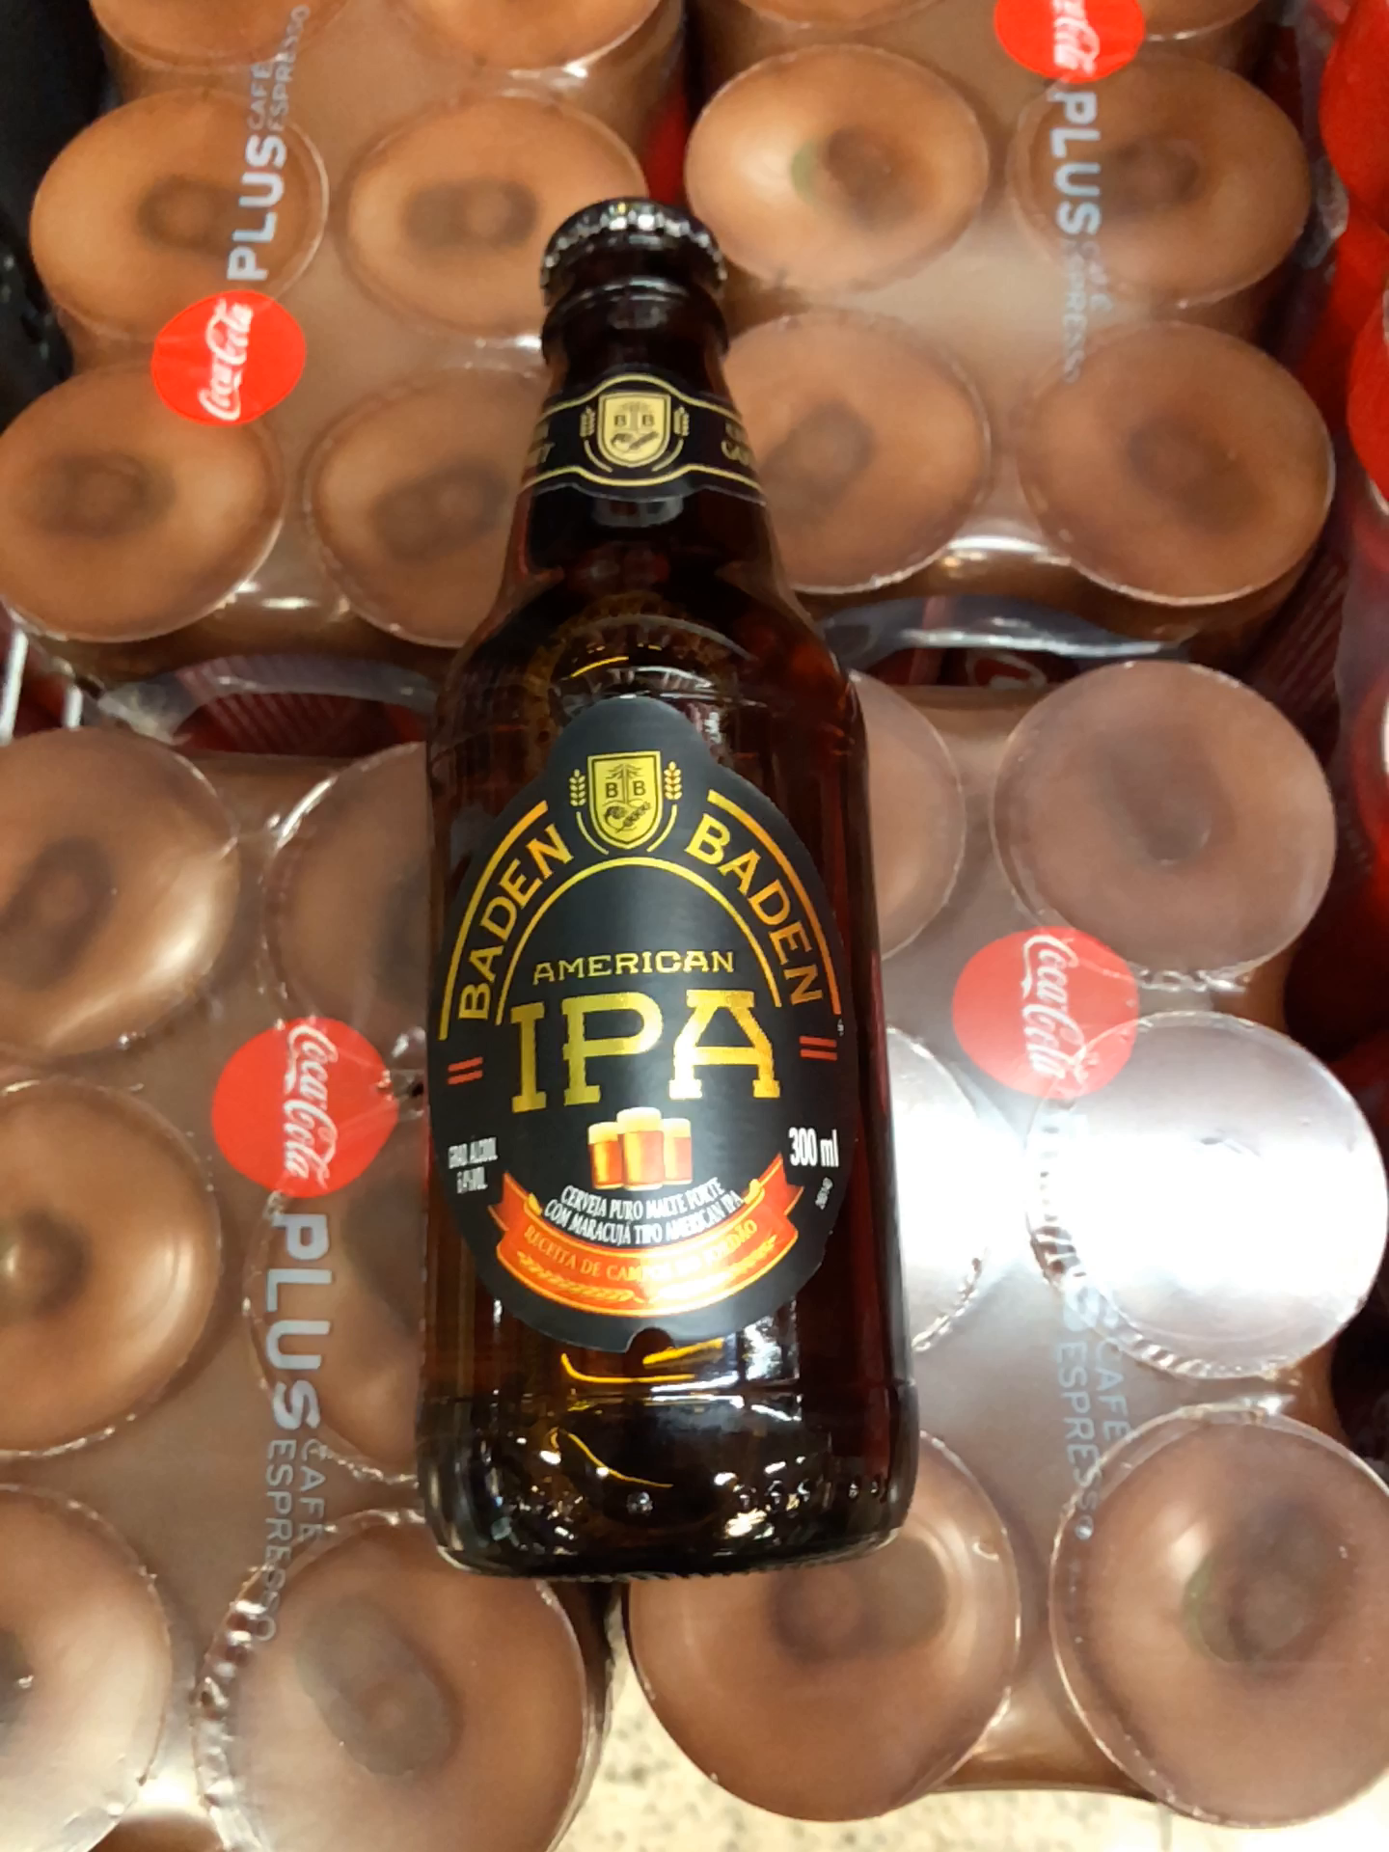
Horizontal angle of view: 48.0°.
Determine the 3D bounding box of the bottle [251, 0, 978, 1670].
[{"bbox_3d":[-0.012,-0.024,0.204,0.070,0.050,0.210,-3,74,0],"label":"bottle"}]
